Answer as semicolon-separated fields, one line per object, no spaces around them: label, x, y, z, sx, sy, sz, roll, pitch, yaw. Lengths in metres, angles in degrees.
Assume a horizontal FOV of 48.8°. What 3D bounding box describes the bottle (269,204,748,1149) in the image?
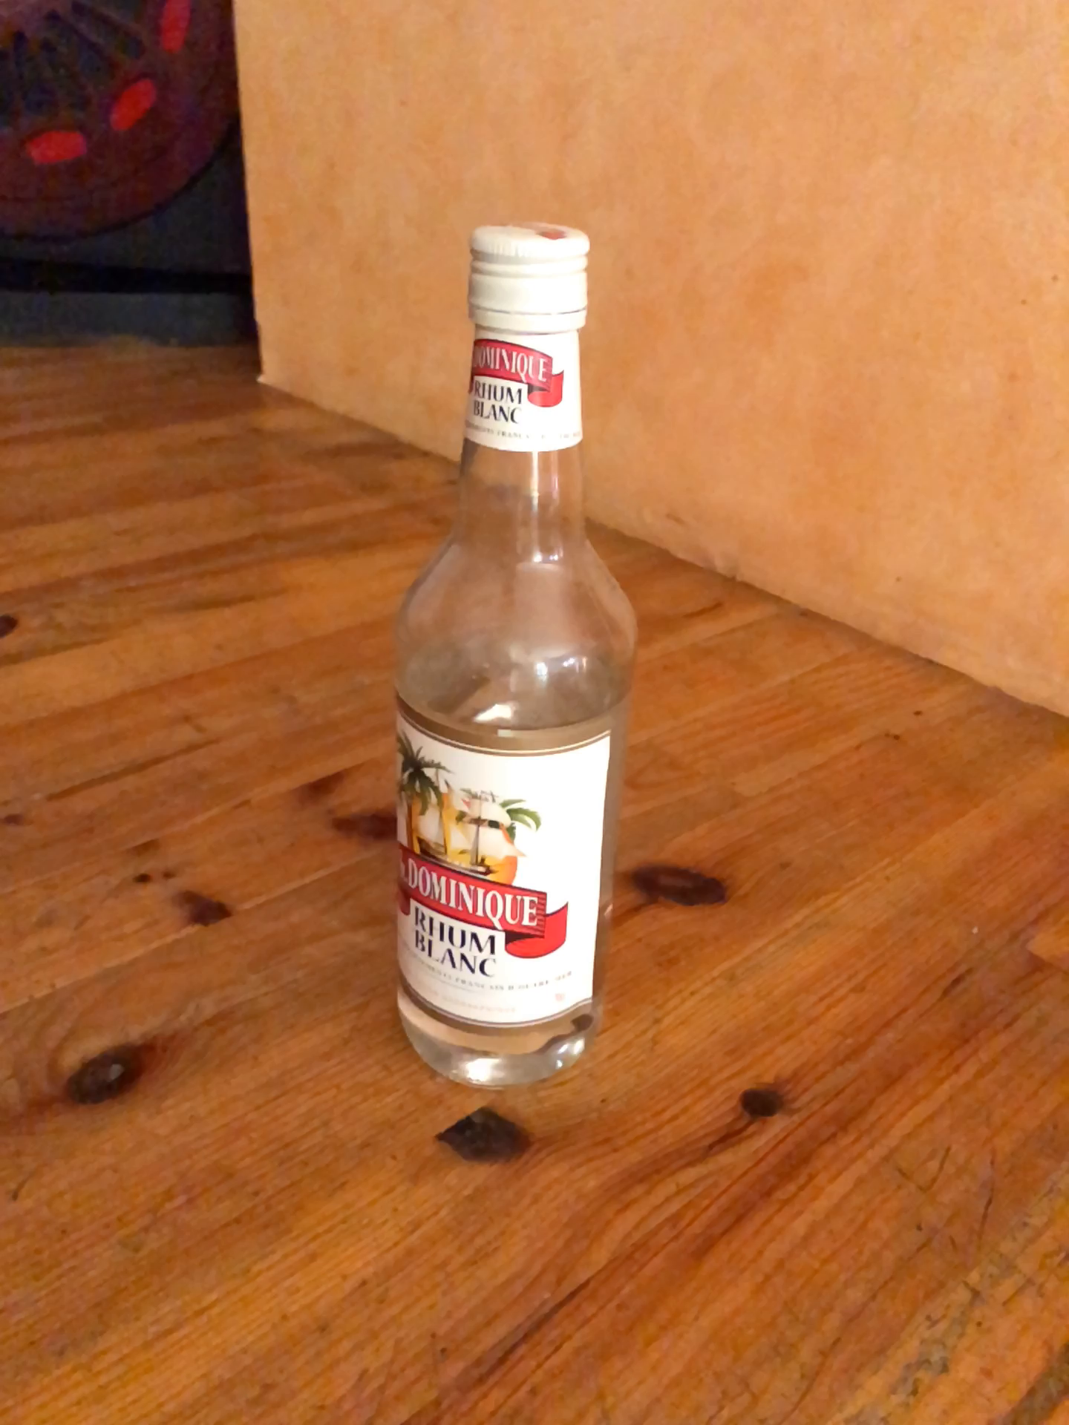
bottle;-0.010;-0.007;0.357;0.090;0.259;0.080;21;33;31
